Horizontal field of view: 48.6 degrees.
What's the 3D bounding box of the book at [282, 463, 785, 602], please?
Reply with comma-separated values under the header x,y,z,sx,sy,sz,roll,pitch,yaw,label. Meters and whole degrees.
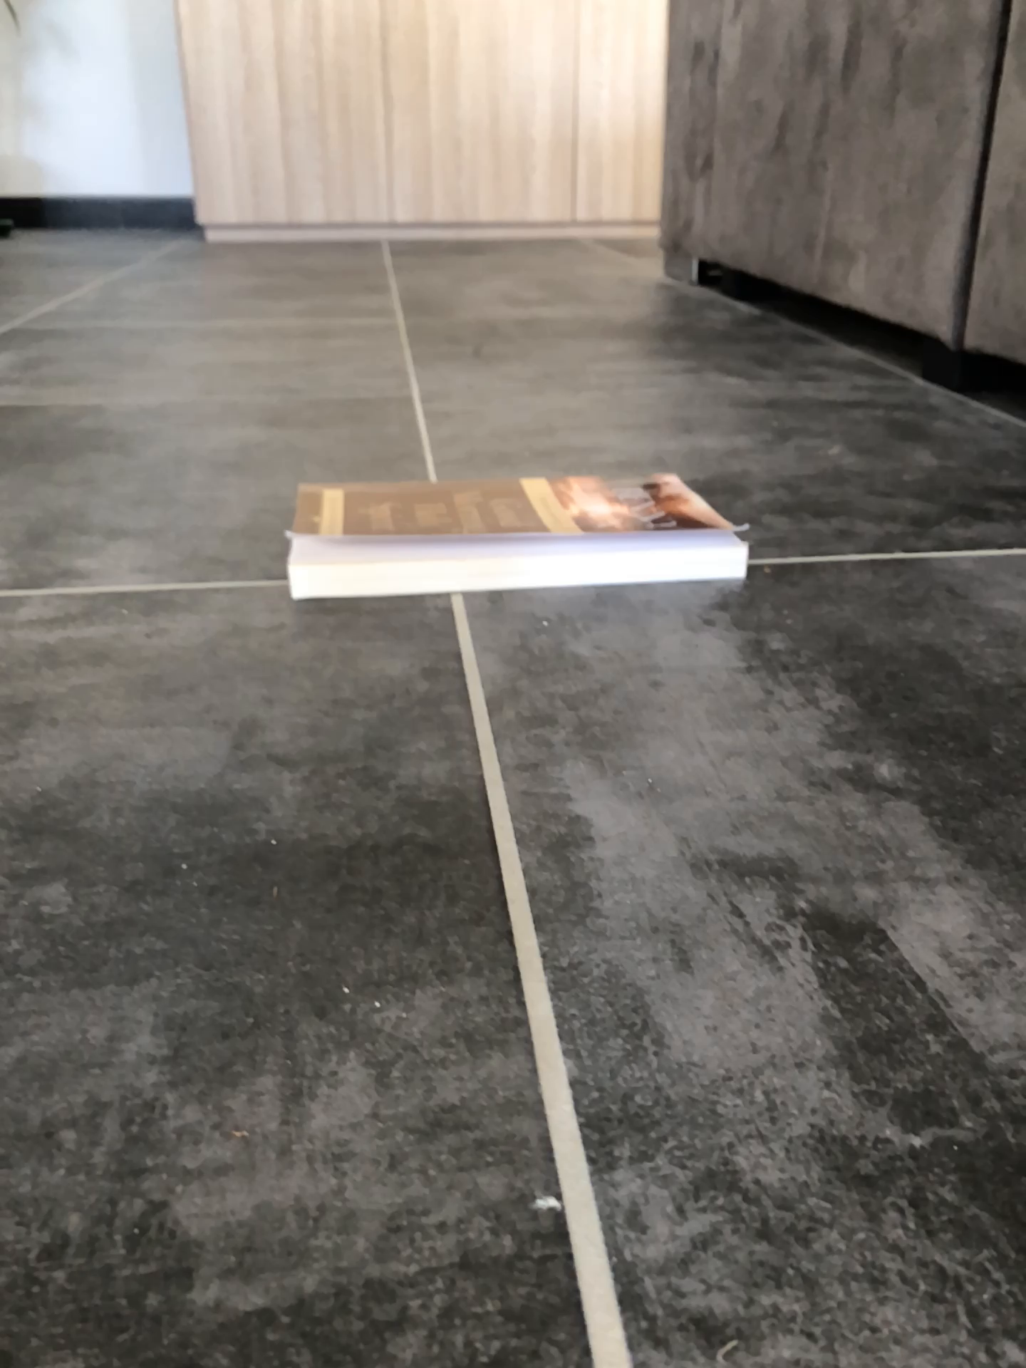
x,y,z,sx,sy,sz,roll,pitch,yaw,label
0.002,-0.083,0.586,0.230,0.020,0.151,-3,25,-7,book
